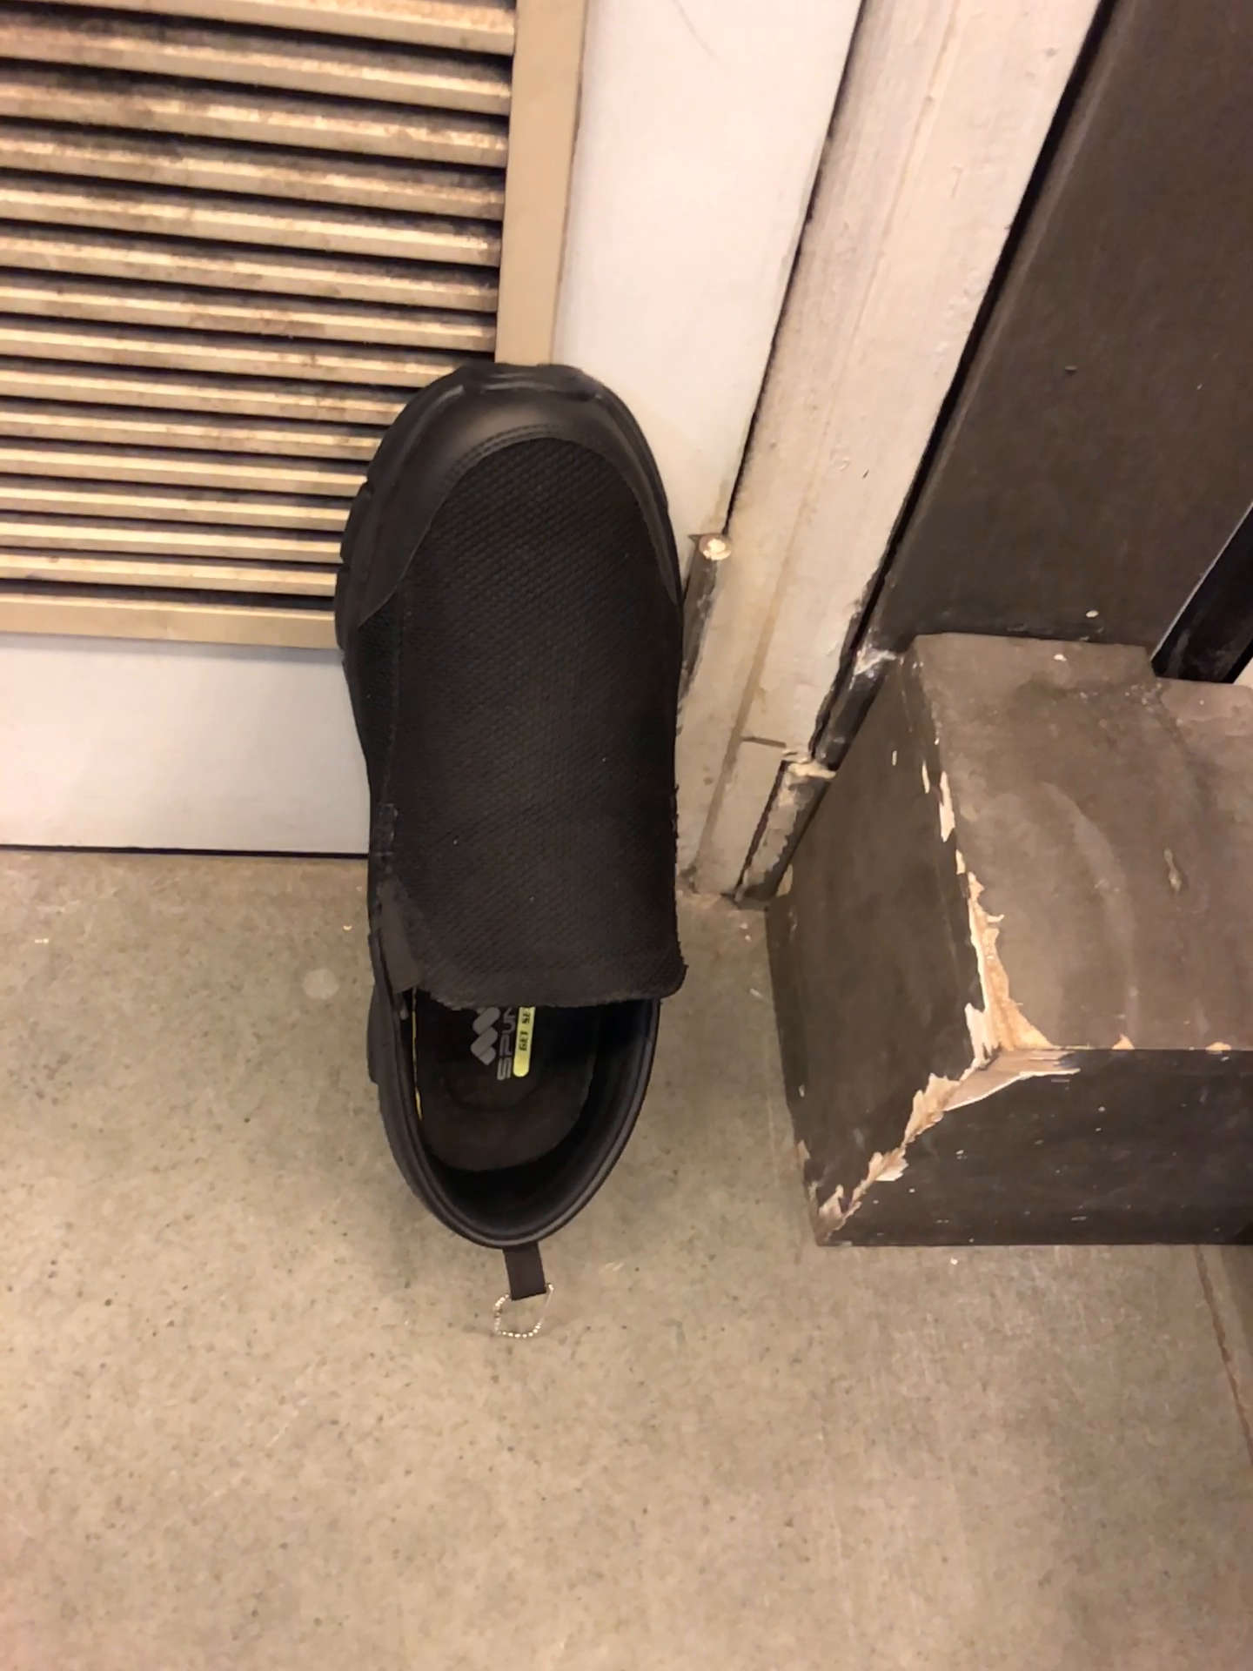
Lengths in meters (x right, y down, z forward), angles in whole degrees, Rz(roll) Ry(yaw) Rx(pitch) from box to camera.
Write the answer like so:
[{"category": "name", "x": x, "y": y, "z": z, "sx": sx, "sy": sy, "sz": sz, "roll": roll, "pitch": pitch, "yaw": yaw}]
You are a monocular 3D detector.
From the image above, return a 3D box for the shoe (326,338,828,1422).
[{"category": "shoe", "x": -0.027, "y": 0.011, "z": 0.418, "sx": 0.111, "sy": 0.291, "sz": 0.127, "roll": -2, "pitch": 24, "yaw": -11}]
